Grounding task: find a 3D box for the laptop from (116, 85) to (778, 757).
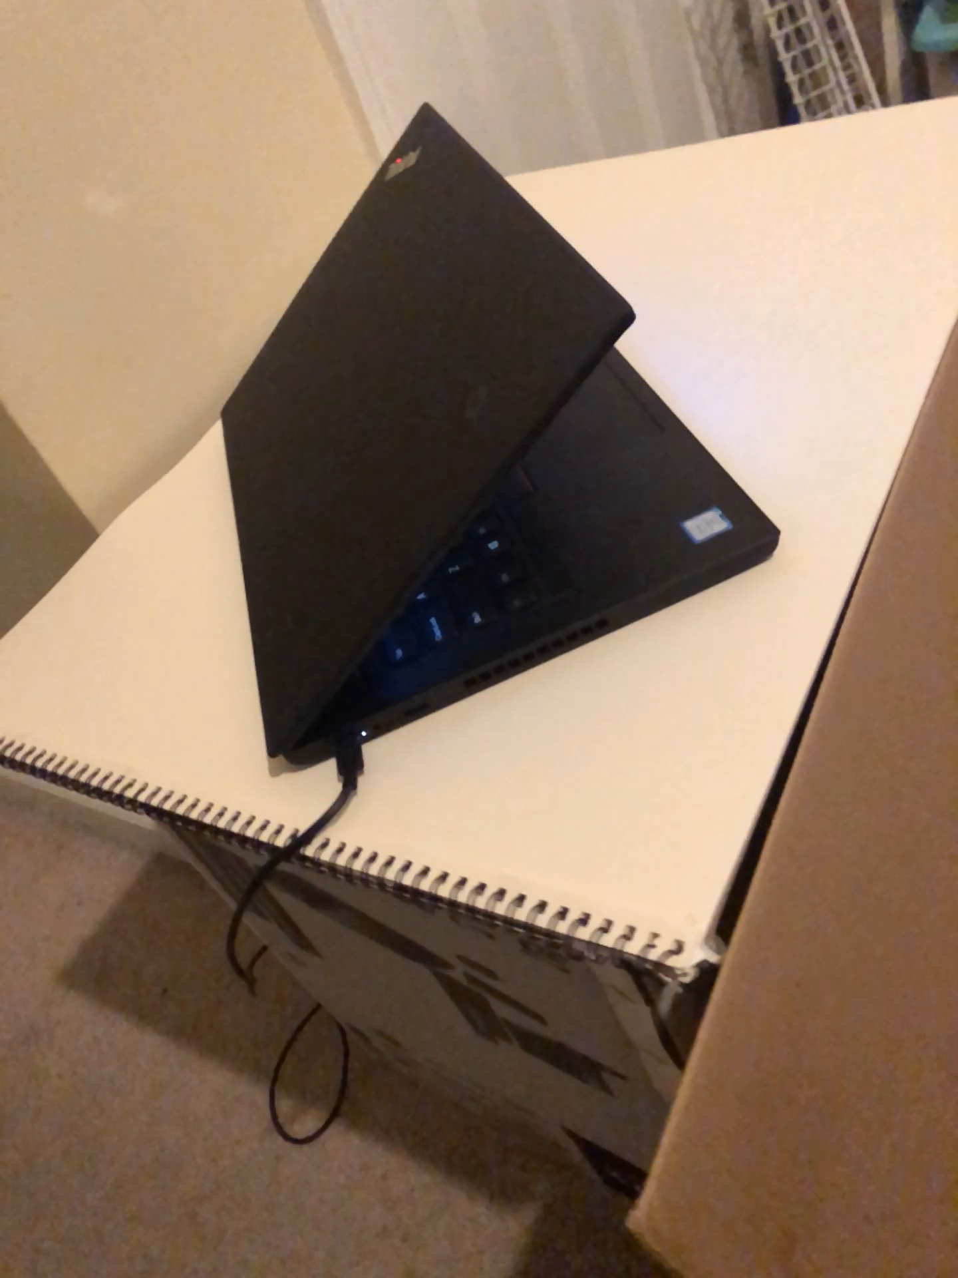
[{"bbox_3d":[-0.040,-0.132,0.517,0.226,0.115,0.319,-24,40,2],"label":"laptop"}]
